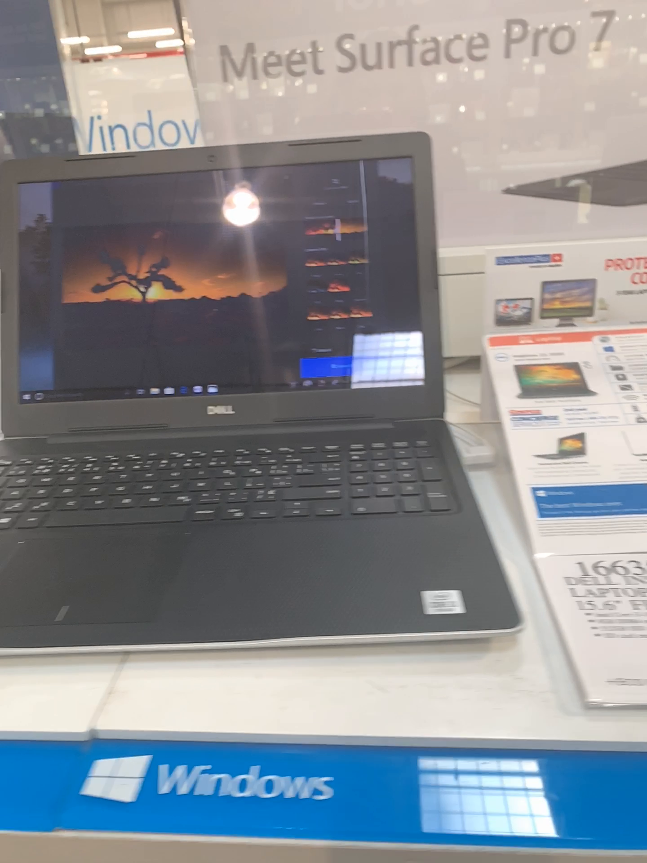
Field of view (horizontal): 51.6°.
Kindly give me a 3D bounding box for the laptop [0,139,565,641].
[{"bbox_3d":[-0.087,-0.068,0.432,0.357,0.205,0.343,-2,23,2],"label":"laptop"}]
